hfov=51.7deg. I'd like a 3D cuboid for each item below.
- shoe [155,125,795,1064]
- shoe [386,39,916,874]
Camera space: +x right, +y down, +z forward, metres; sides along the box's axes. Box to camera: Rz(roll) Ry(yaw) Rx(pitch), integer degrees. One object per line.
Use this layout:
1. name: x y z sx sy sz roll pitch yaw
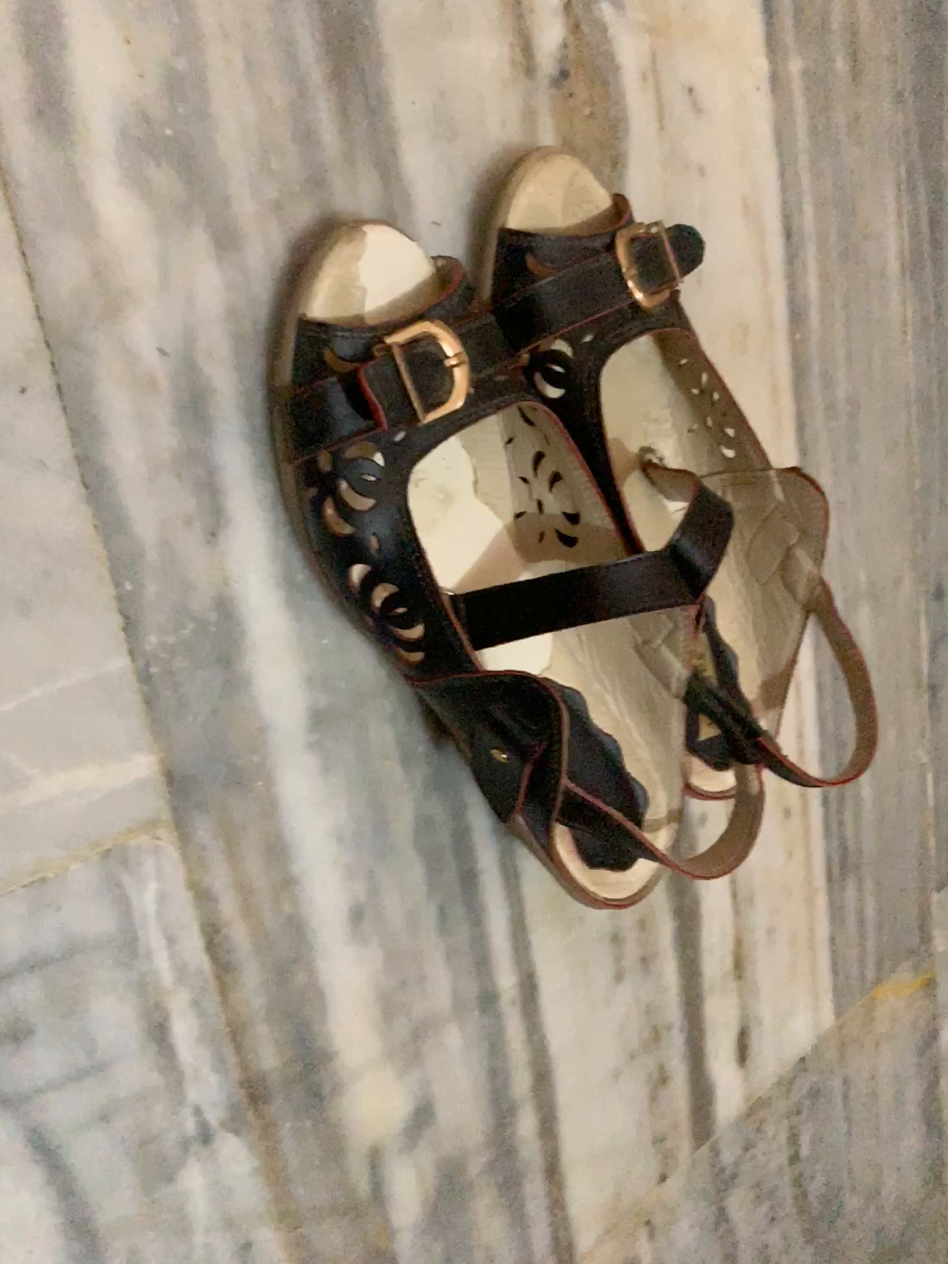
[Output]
1. shoe: 0.012 -0.005 0.327 0.100 0.100 0.261 -33 116 -31
2. shoe: 0.077 -0.055 0.370 0.100 0.100 0.261 -33 116 -31
